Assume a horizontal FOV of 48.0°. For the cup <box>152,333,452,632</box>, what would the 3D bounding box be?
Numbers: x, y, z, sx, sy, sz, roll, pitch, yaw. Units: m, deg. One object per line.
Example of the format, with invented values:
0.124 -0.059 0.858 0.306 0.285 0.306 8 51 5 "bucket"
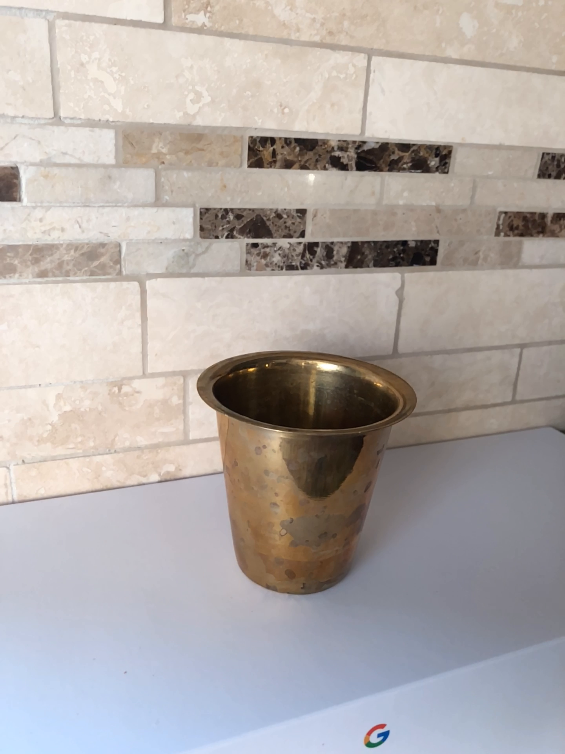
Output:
0.002 0.031 0.241 0.083 0.071 0.075 -7 22 -25 "cup"
